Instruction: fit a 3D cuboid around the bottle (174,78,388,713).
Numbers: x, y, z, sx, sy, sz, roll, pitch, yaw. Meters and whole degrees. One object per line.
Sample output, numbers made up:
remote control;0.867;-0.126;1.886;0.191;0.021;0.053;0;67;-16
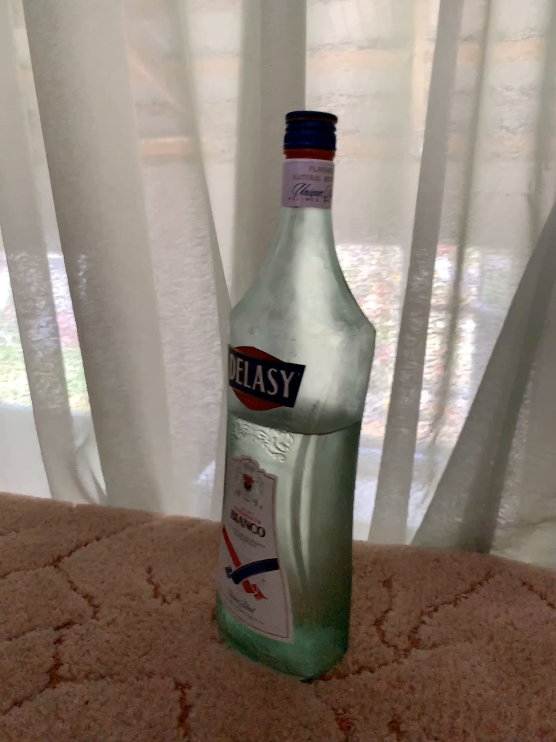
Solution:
bottle;-0.005;0.017;0.350;0.060;0.329;0.110;-9;15;-40
